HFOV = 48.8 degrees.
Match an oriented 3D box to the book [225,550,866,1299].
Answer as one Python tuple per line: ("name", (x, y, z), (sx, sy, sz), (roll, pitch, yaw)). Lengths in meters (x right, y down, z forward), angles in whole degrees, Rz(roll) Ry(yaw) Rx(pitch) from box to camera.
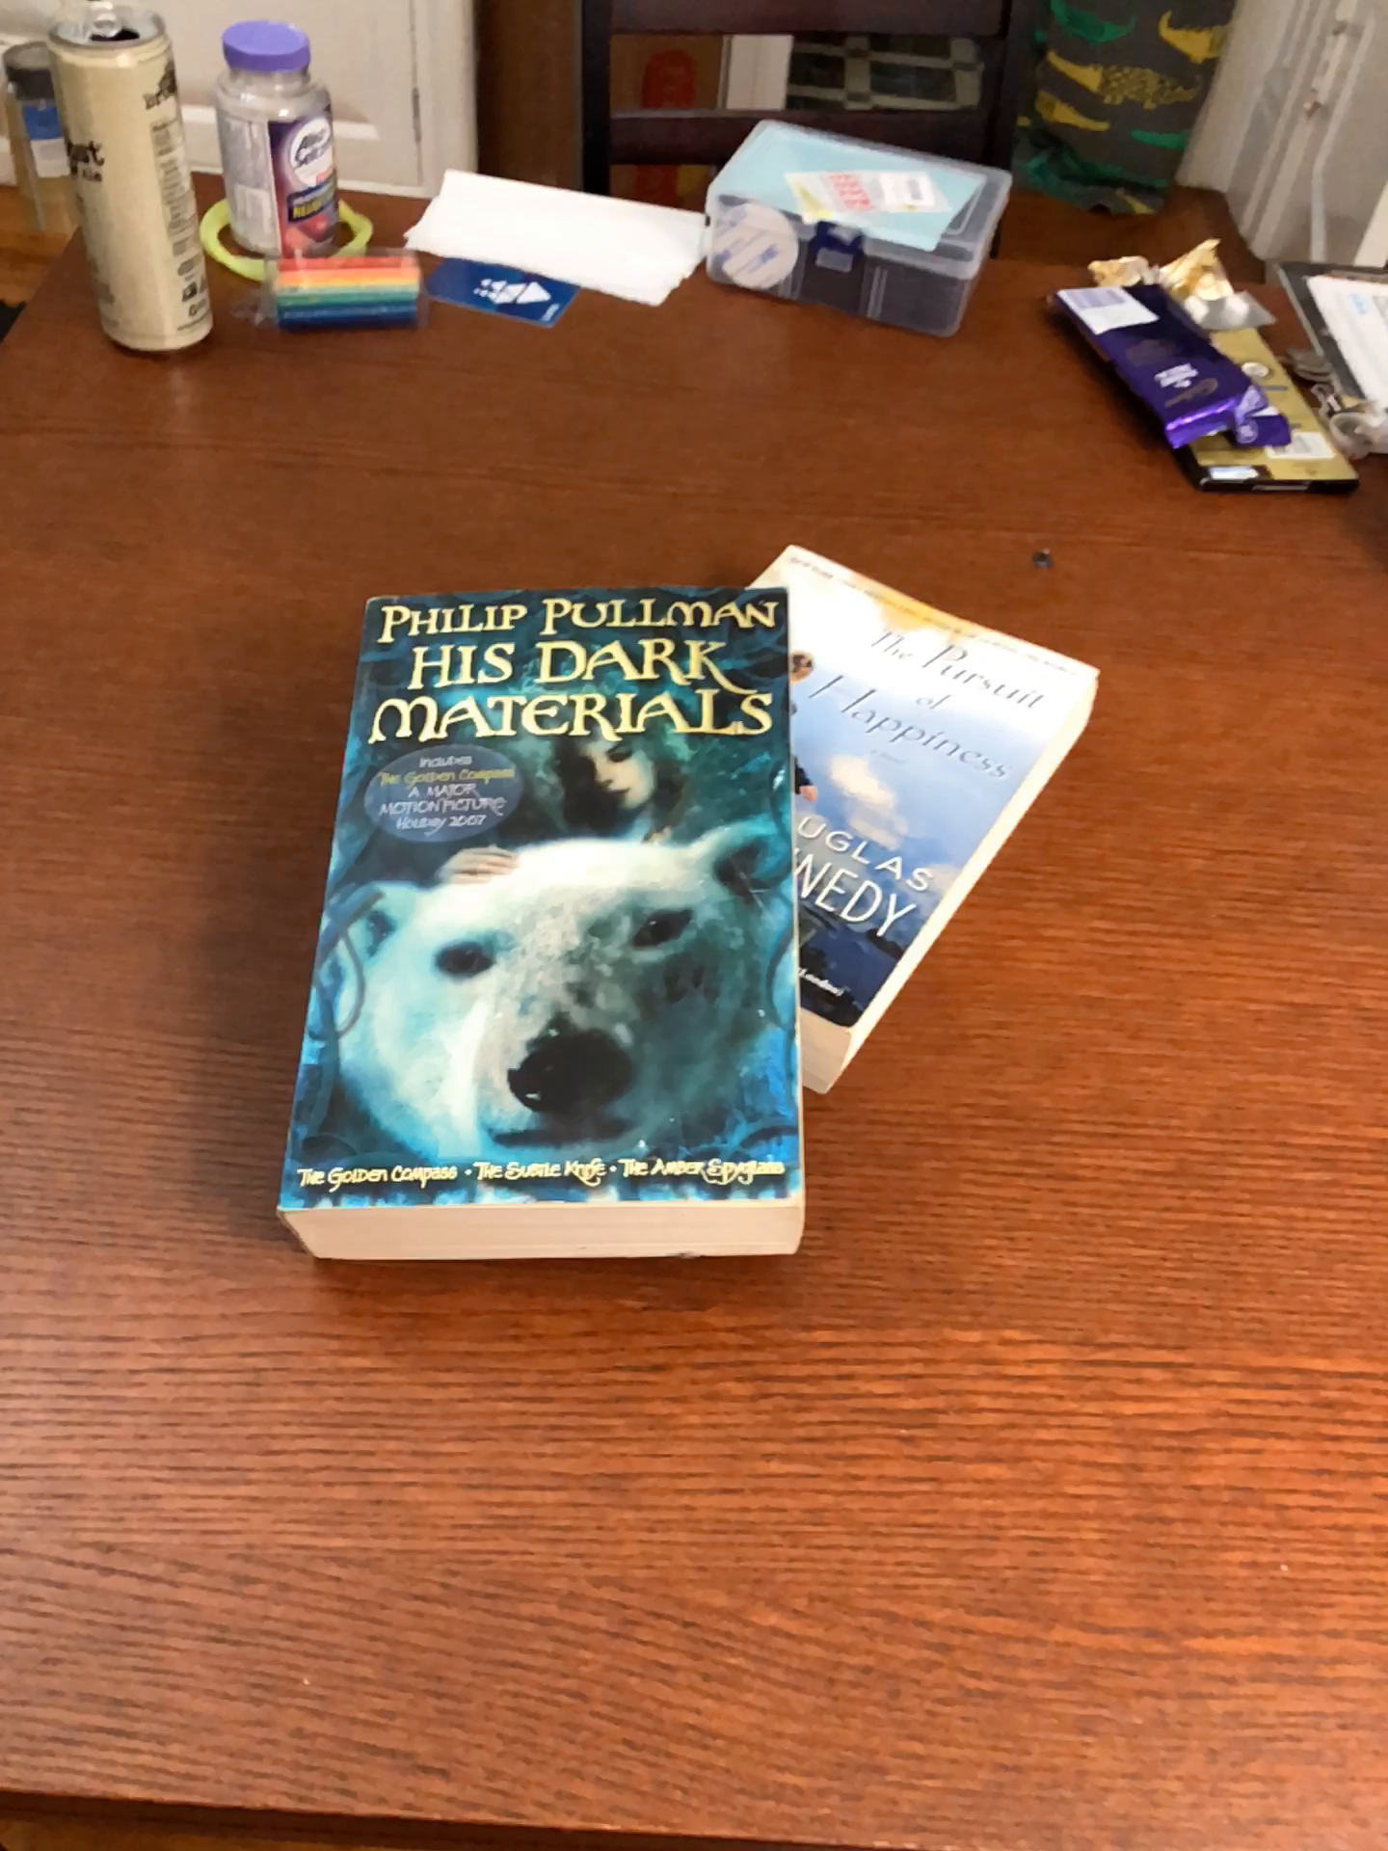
("book", (-0.040, -0.008, 0.491), (0.170, 0.060, 0.241), (0, 61, -1))

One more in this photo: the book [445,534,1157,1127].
("book", (0.049, -0.054, 0.600), (0.170, 0.040, 0.241), (26, 53, 24))
